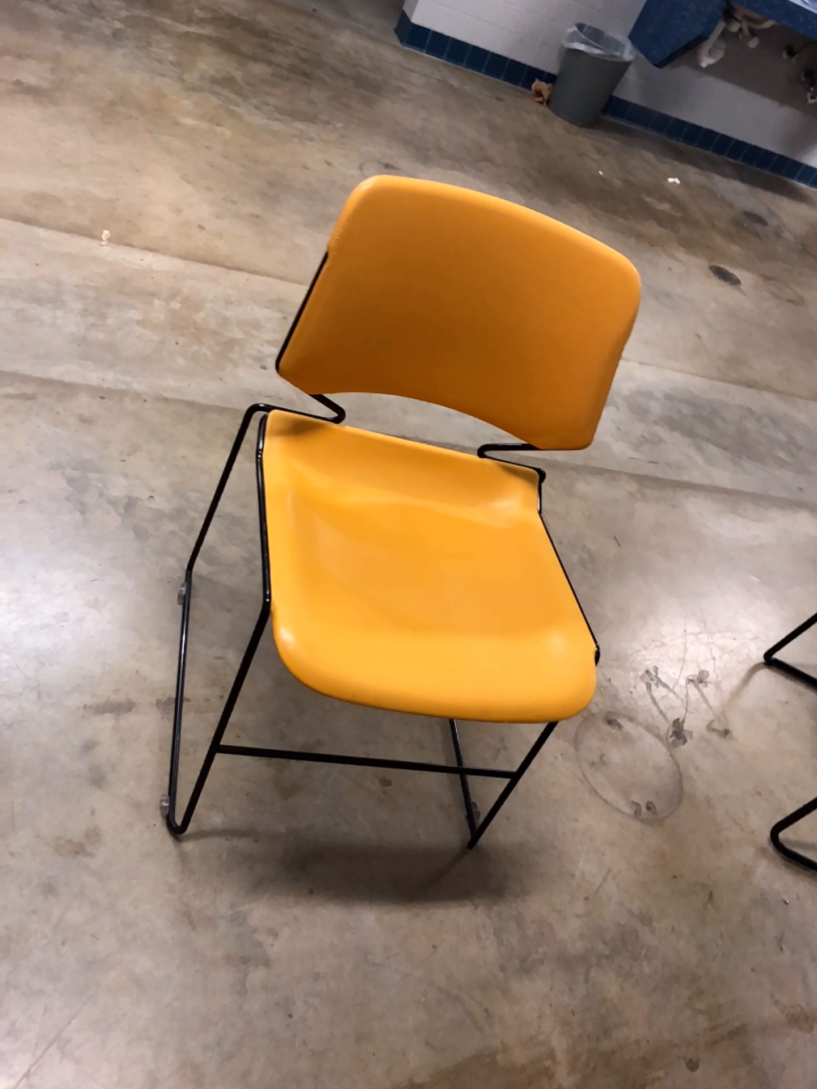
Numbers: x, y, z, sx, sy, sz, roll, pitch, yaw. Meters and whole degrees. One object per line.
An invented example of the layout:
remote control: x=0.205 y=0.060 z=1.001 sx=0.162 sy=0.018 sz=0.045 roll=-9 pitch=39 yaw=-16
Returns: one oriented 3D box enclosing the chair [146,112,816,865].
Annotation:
chair: x=0.017 y=-0.025 z=1.253 sx=0.578 sy=0.735 sz=0.618 roll=10 pitch=43 yaw=-20
